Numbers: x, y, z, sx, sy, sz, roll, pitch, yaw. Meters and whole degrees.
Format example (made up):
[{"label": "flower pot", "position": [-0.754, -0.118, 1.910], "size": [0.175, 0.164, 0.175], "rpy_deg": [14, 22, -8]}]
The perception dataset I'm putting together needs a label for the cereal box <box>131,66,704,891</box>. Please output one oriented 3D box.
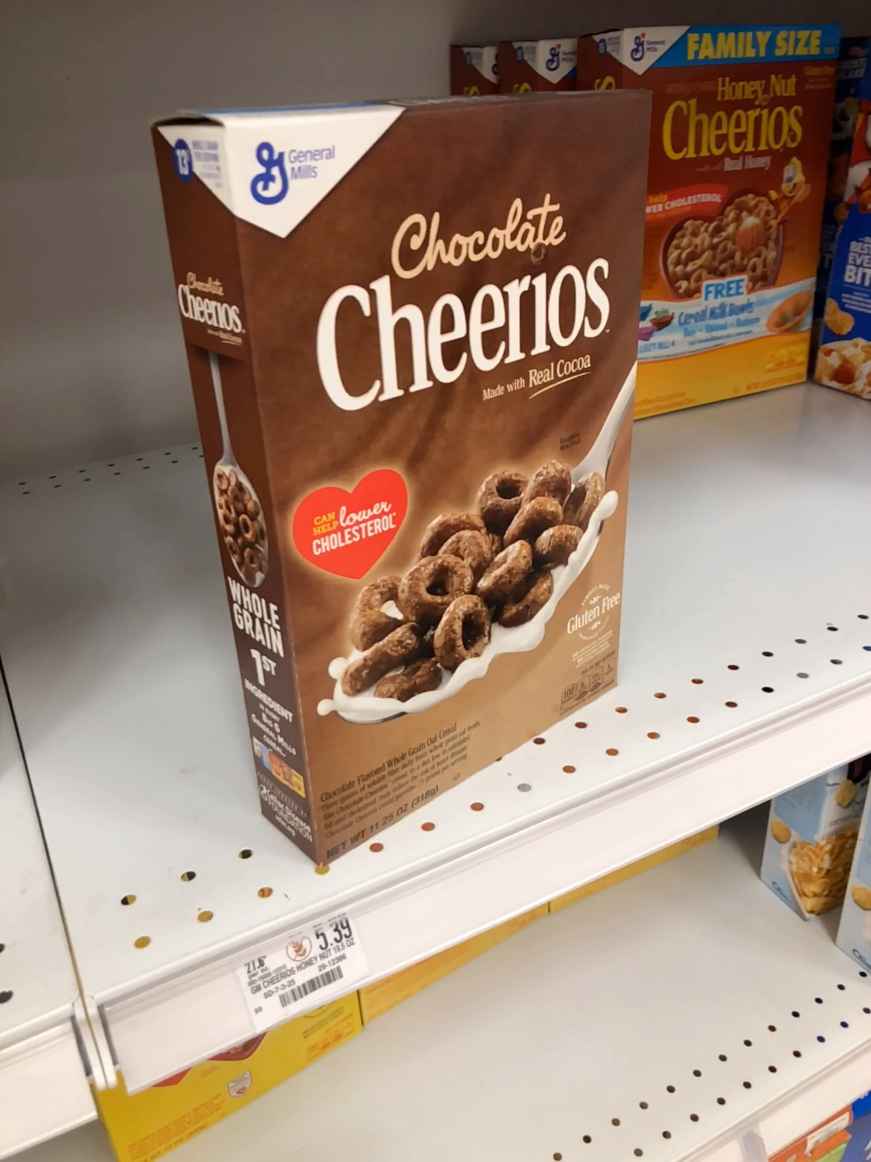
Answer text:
[{"label": "cereal box", "position": [0.009, -0.043, 0.397], "size": [0.200, 0.289, 0.060], "rpy_deg": [-24, 36, -33]}]
